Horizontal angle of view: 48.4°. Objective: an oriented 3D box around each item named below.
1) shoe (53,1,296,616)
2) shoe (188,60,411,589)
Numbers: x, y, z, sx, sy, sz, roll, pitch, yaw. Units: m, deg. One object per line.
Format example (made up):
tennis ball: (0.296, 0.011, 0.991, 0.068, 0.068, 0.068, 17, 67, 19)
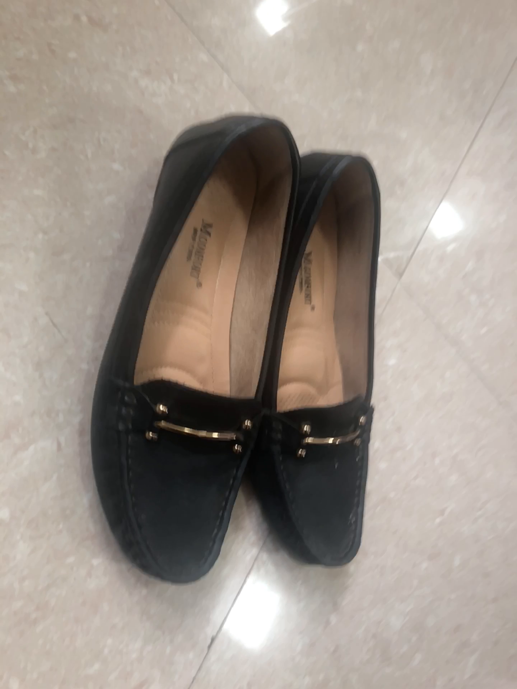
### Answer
shoe: (-0.044, -0.021, 0.340, 0.100, 0.080, 0.310, 10, 75, -35)
shoe: (0.023, -0.014, 0.392, 0.100, 0.080, 0.310, 2, 79, -36)
